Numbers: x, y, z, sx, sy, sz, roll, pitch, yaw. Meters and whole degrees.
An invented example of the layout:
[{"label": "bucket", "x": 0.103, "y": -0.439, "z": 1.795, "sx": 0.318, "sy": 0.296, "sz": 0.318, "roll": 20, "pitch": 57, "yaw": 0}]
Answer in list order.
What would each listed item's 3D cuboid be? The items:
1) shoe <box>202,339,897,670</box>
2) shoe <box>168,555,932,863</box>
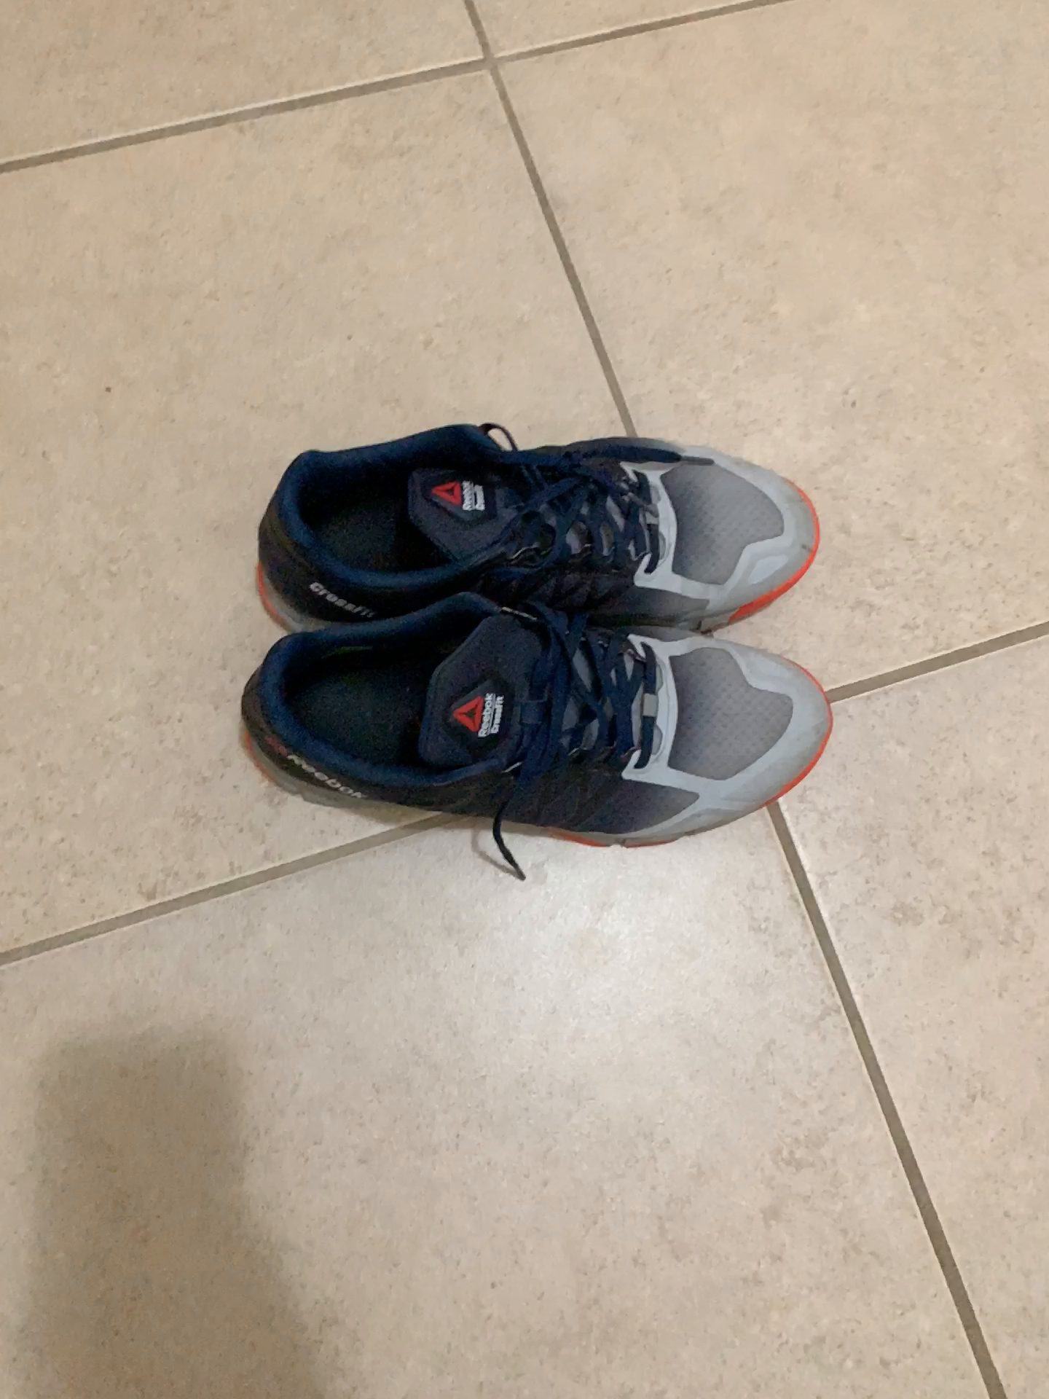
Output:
[{"label": "shoe", "x": 0.008, "y": -0.093, "z": 0.542, "sx": 0.304, "sy": 0.122, "sz": 0.104, "roll": -5, "pitch": 76, "yaw": -5}, {"label": "shoe", "x": 0.011, "y": 0.013, "z": 0.519, "sx": 0.314, "sy": 0.134, "sz": 0.109, "roll": 2, "pitch": 75, "yaw": -3}]
